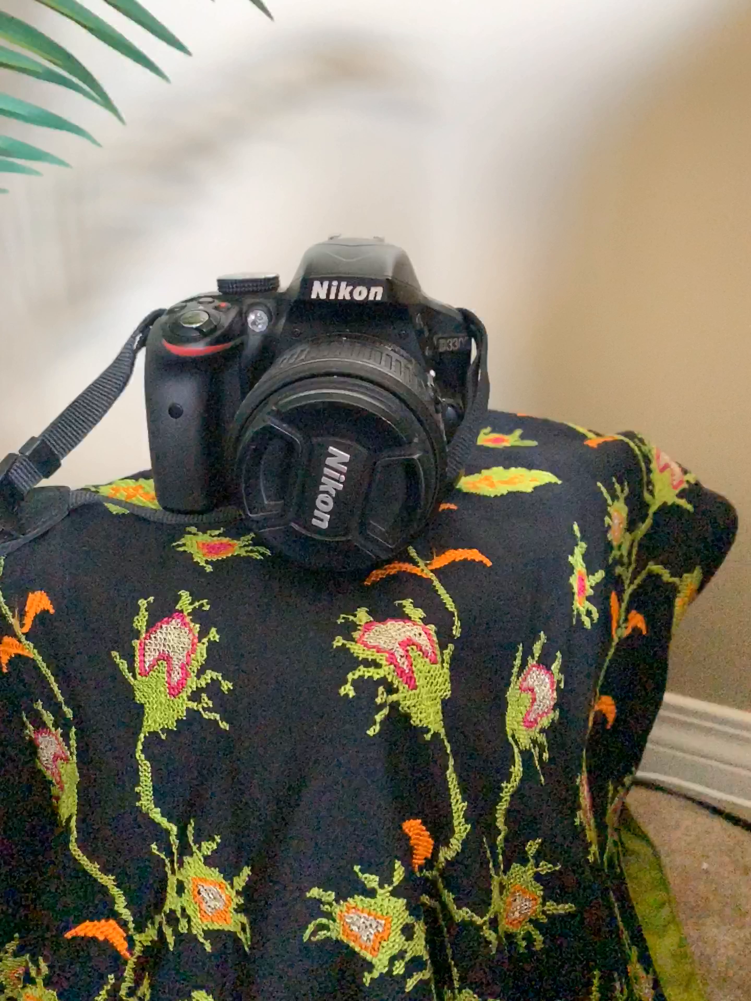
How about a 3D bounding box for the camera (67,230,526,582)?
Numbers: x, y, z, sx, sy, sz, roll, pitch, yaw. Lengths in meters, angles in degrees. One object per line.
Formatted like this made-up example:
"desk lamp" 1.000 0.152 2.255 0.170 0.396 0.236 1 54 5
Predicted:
"camera" -0.021 -0.038 0.264 0.120 0.099 0.091 0 20 -1
